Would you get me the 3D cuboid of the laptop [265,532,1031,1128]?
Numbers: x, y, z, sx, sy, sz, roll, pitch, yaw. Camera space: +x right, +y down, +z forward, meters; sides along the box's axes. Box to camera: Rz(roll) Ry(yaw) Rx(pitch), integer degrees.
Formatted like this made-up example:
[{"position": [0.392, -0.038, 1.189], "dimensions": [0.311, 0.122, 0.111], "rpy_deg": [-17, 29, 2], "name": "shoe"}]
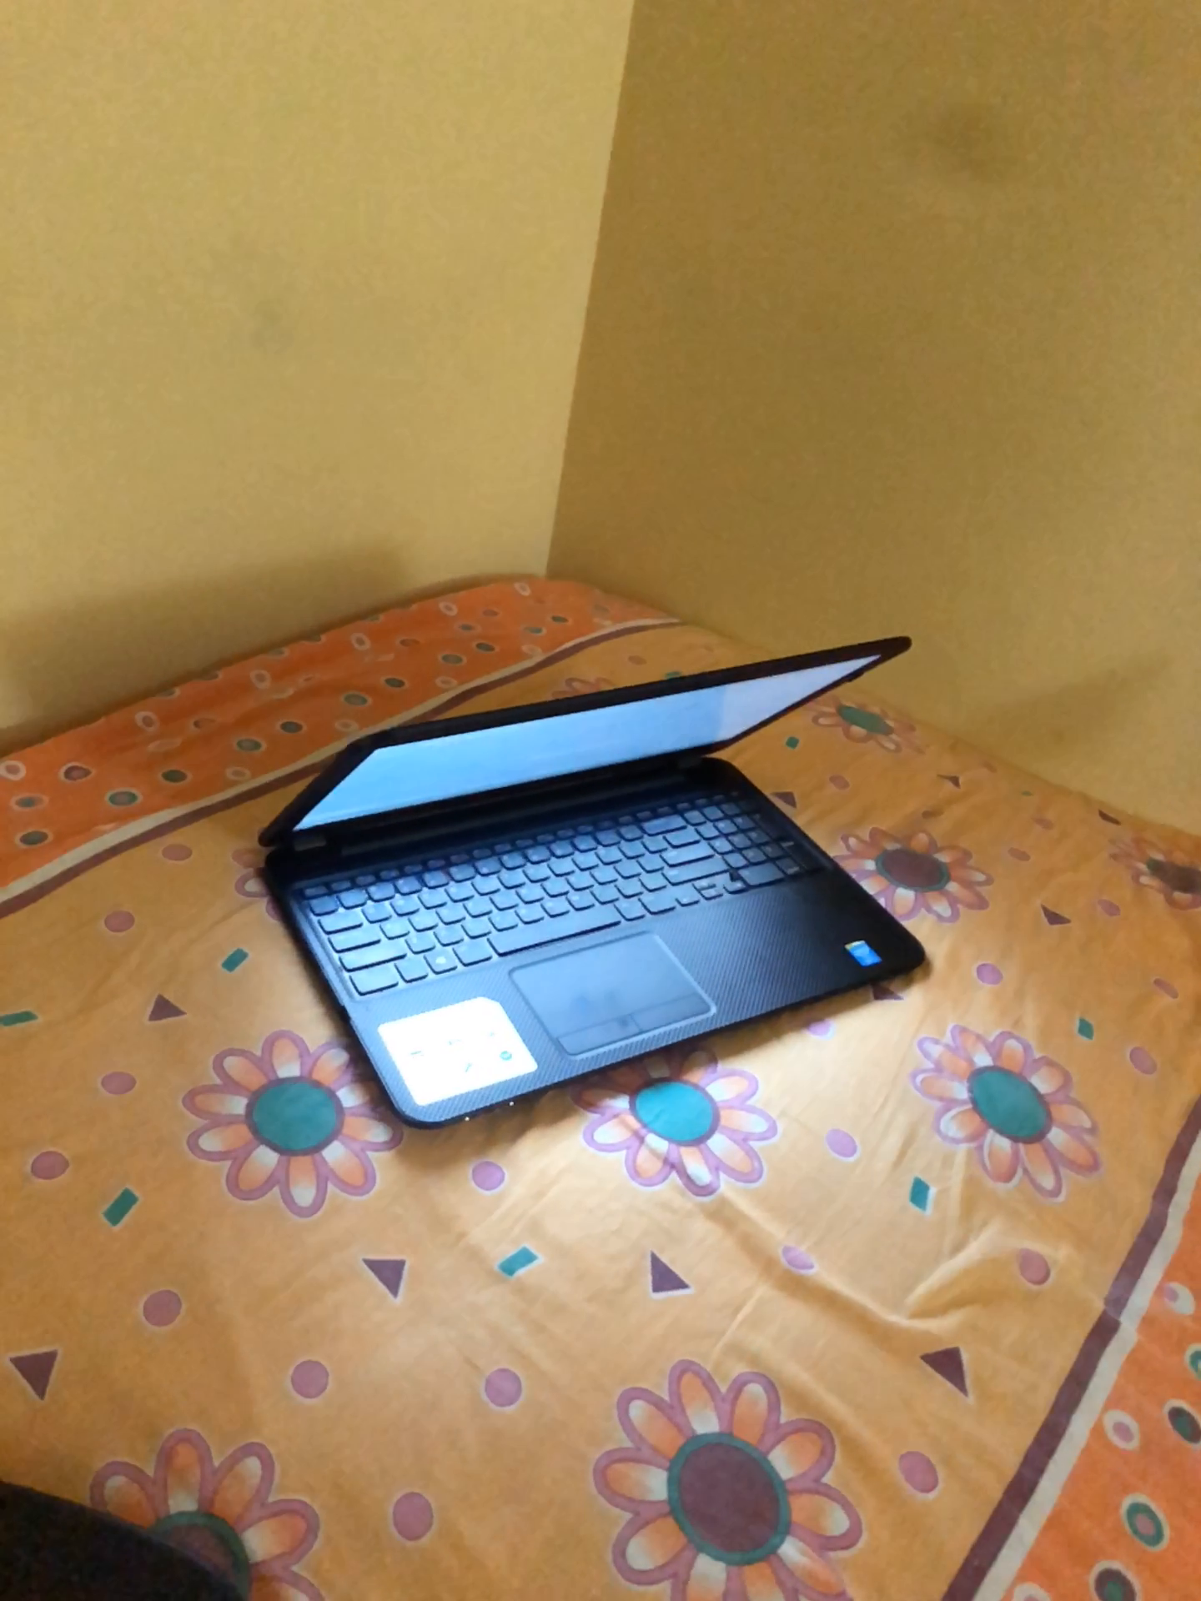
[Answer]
[{"position": [0.015, -0.007, 0.805], "dimensions": [0.367, 0.190, 0.238], "rpy_deg": [-13, 42, -29], "name": "laptop"}]
